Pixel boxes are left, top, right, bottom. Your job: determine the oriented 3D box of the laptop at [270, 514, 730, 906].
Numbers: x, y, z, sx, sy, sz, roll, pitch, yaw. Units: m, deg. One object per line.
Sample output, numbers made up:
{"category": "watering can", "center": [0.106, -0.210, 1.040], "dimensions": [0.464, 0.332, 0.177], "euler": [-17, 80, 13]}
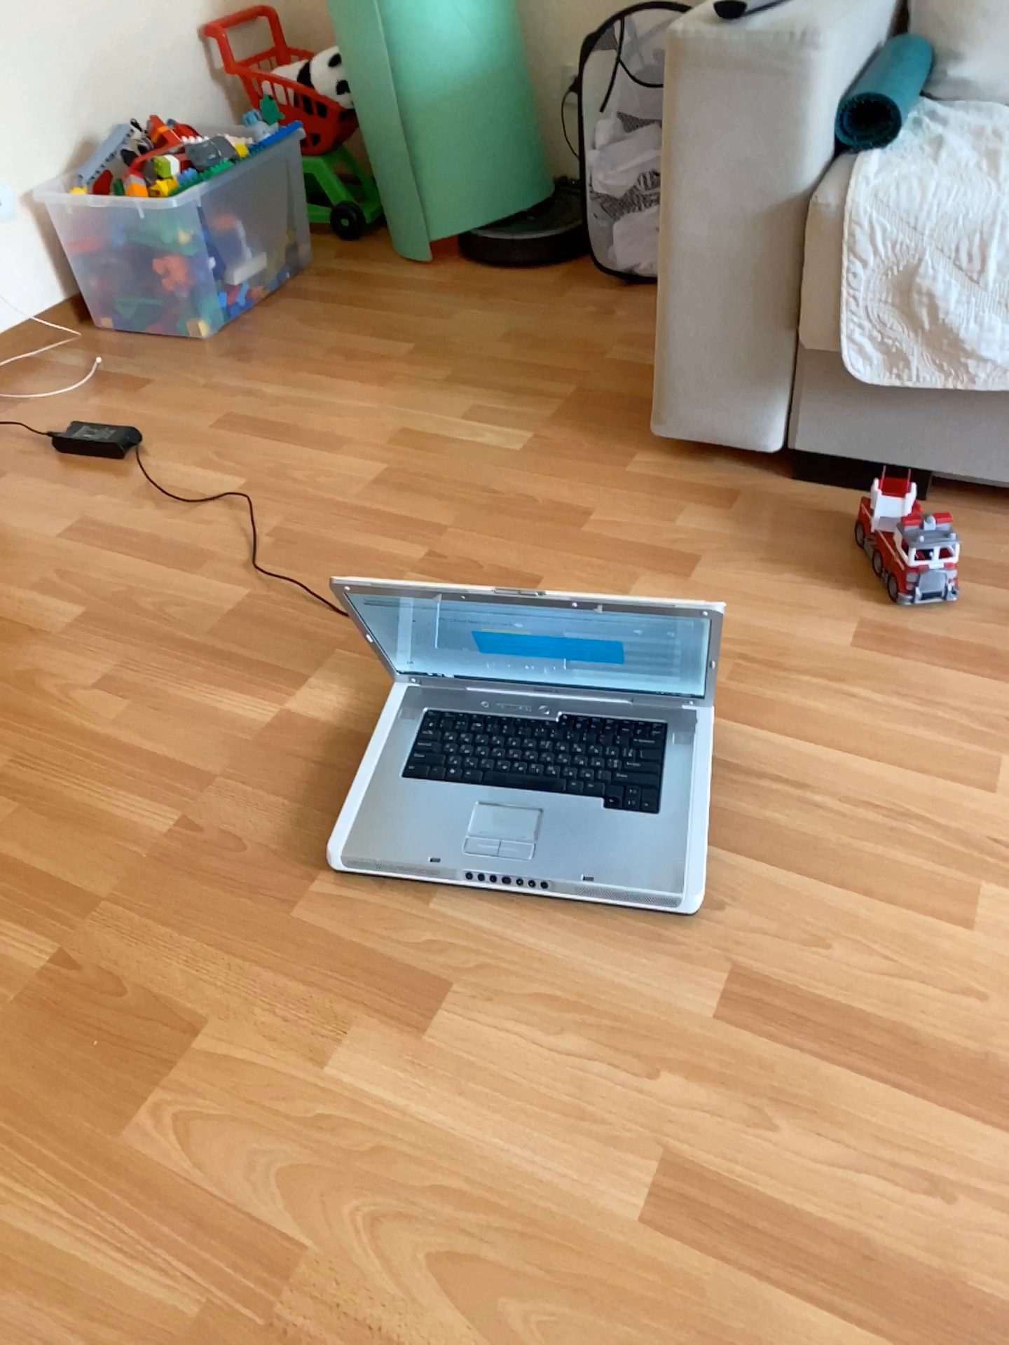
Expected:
{"category": "laptop", "center": [0.019, 0.027, 1.032], "dimensions": [0.386, 0.238, 0.275], "euler": [5, 41, 11]}
